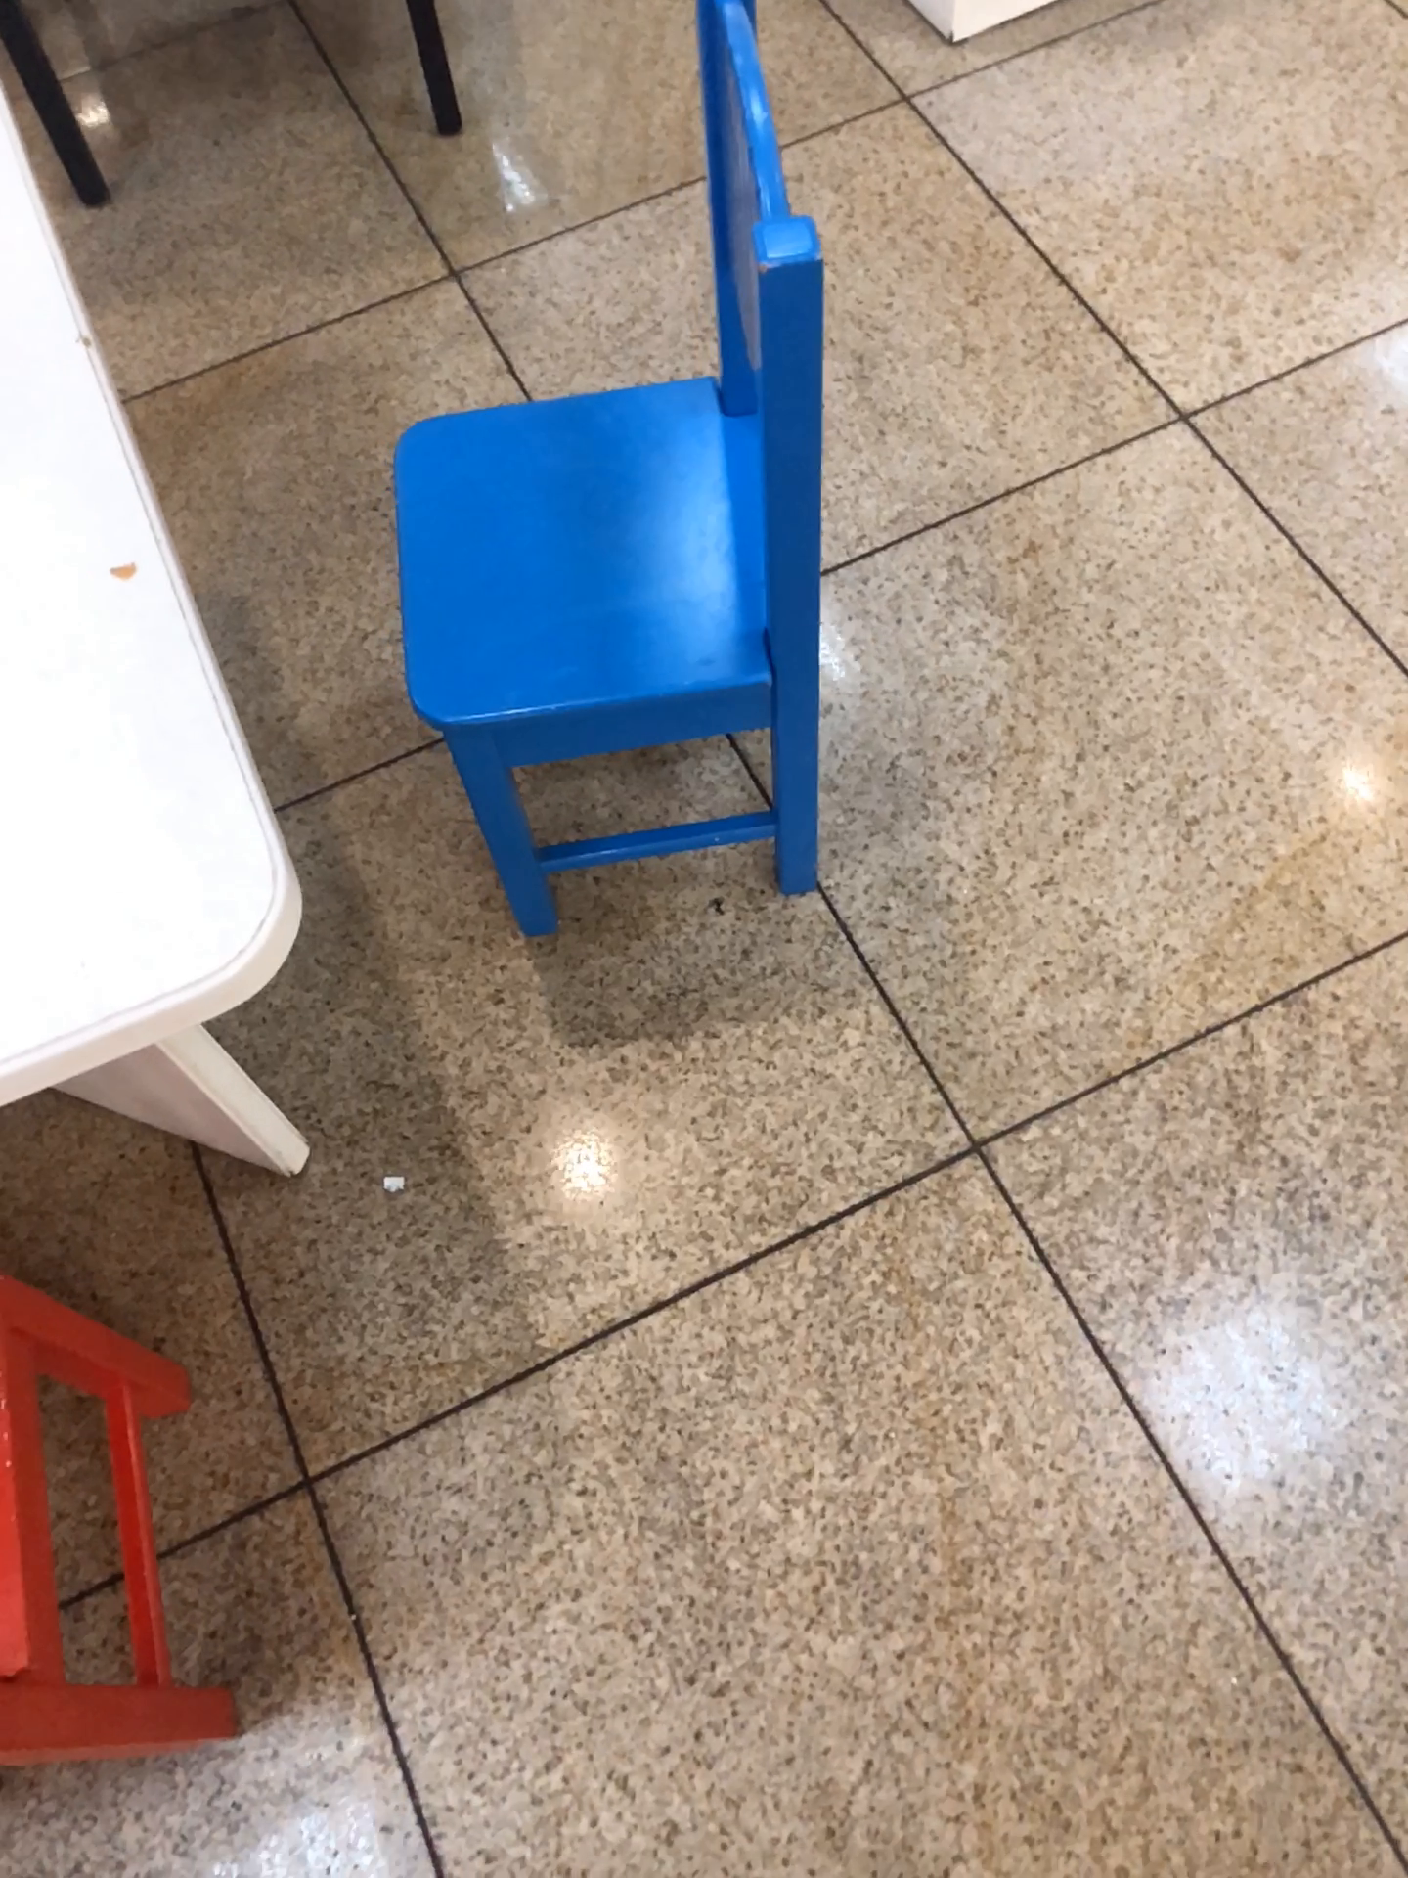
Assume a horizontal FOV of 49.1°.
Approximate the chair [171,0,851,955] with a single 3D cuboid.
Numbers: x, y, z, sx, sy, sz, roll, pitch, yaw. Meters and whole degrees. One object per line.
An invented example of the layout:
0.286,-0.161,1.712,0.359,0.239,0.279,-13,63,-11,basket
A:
-0.091,-0.286,1.094,0.330,0.649,0.290,-9,63,0,chair
